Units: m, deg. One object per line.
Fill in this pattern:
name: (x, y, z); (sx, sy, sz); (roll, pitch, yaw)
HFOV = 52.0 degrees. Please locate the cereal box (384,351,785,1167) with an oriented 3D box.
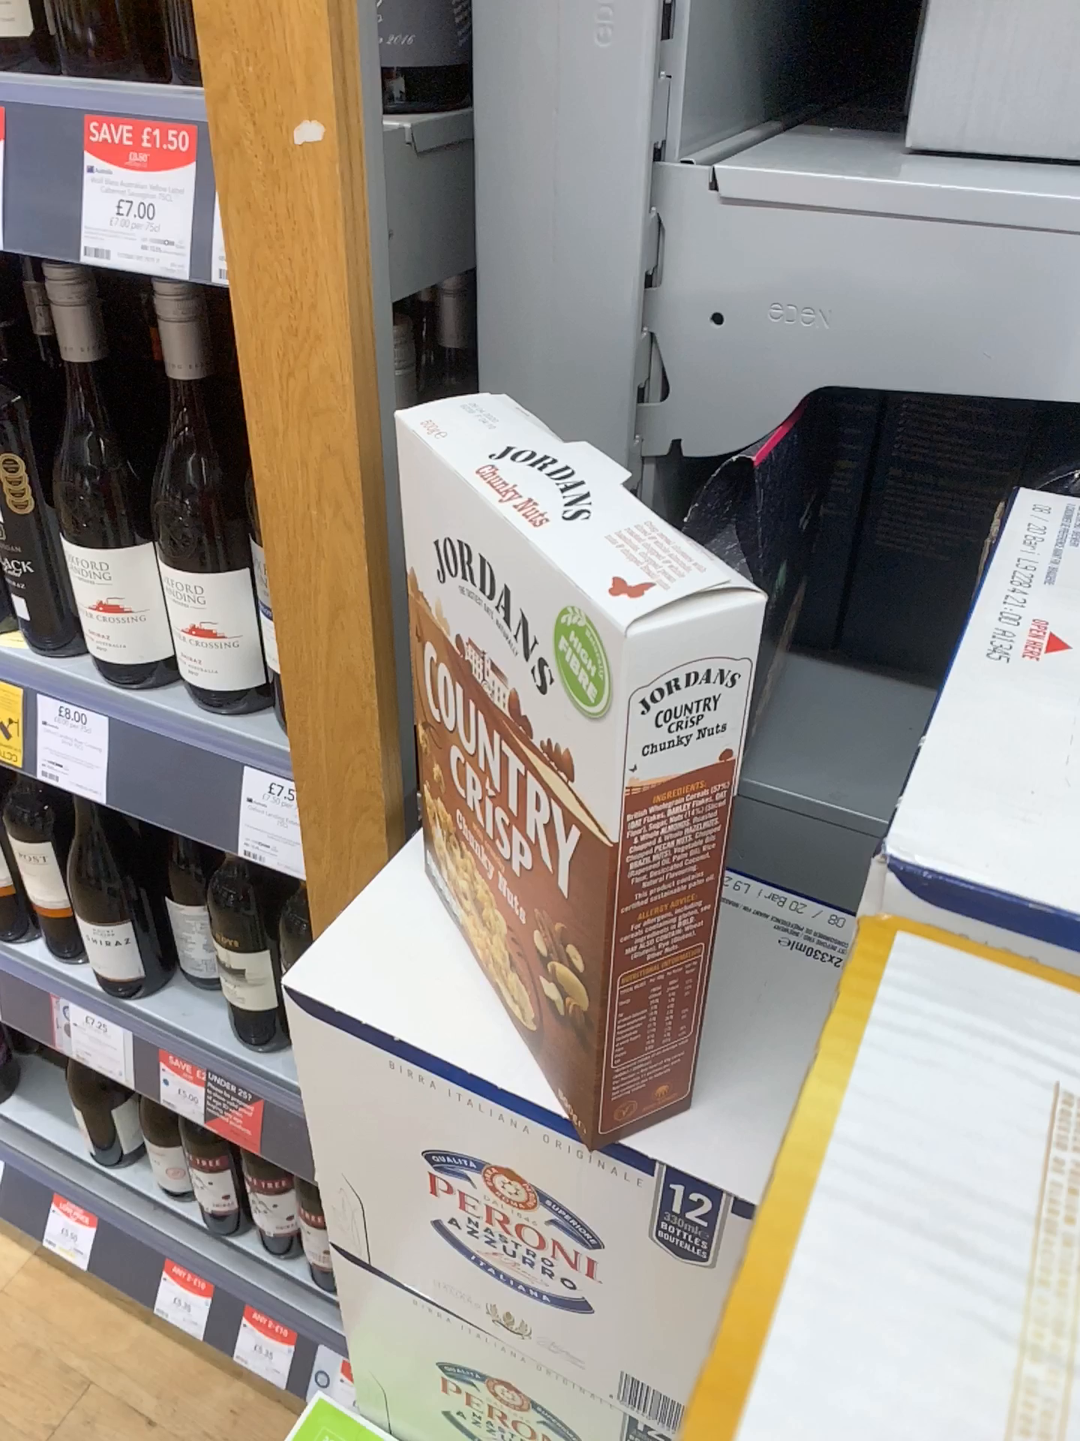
cereal box: (0.001, 0.014, 0.441); (0.050, 0.257, 0.192); (-15, 38, -21)
